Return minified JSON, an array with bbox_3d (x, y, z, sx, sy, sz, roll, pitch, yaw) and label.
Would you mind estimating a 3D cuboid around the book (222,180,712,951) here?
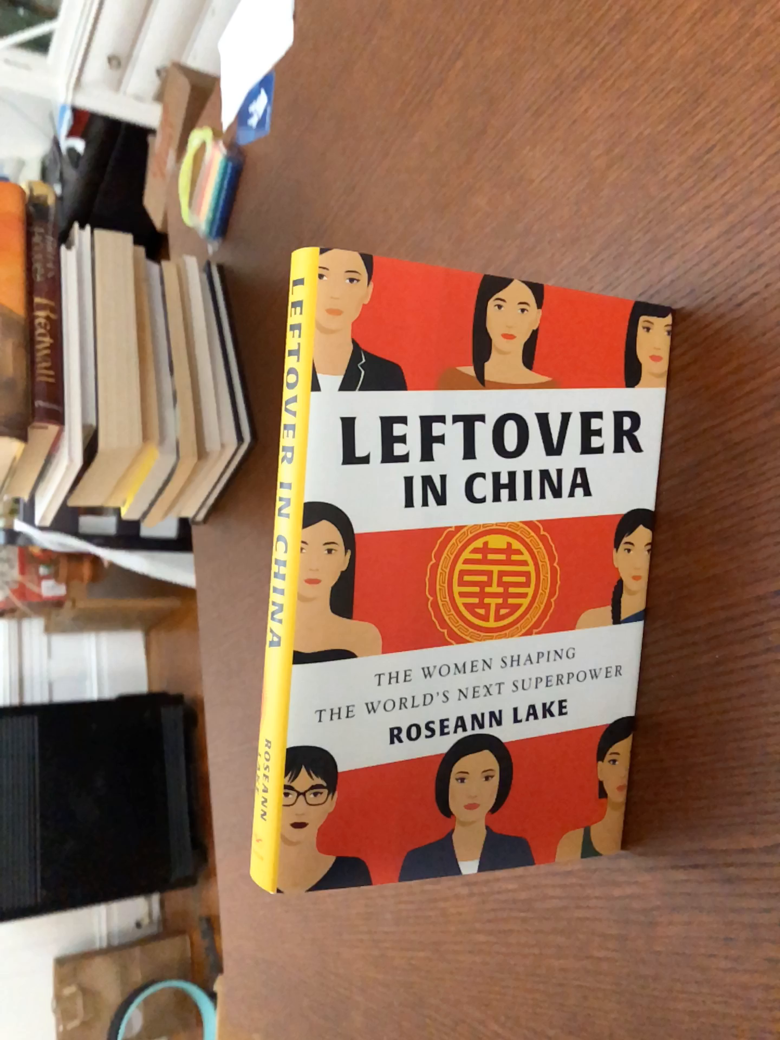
[{"bbox_3d":[0.035,0.019,0.360,0.060,0.179,0.260,11,98,59],"label":"book"}]
